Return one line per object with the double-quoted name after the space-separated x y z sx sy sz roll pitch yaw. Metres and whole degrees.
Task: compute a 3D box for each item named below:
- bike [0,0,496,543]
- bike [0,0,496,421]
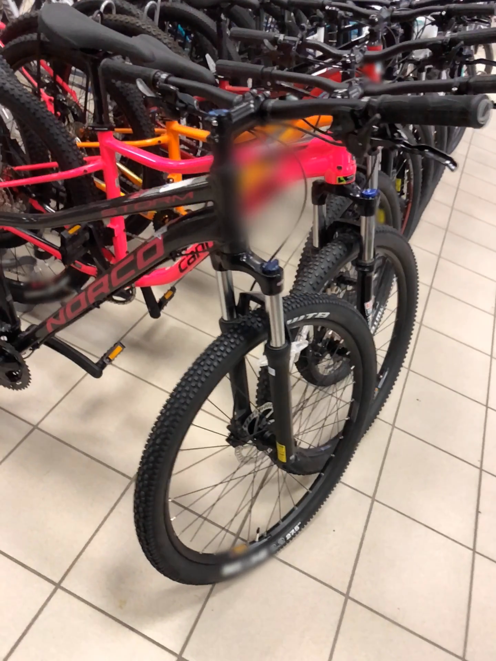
-0.366 -0.261 1.288 1.579 1.101 0.688 19 40 -2 "bike"
-0.180 -0.497 1.564 1.564 1.074 0.656 17 40 0 "bike"
